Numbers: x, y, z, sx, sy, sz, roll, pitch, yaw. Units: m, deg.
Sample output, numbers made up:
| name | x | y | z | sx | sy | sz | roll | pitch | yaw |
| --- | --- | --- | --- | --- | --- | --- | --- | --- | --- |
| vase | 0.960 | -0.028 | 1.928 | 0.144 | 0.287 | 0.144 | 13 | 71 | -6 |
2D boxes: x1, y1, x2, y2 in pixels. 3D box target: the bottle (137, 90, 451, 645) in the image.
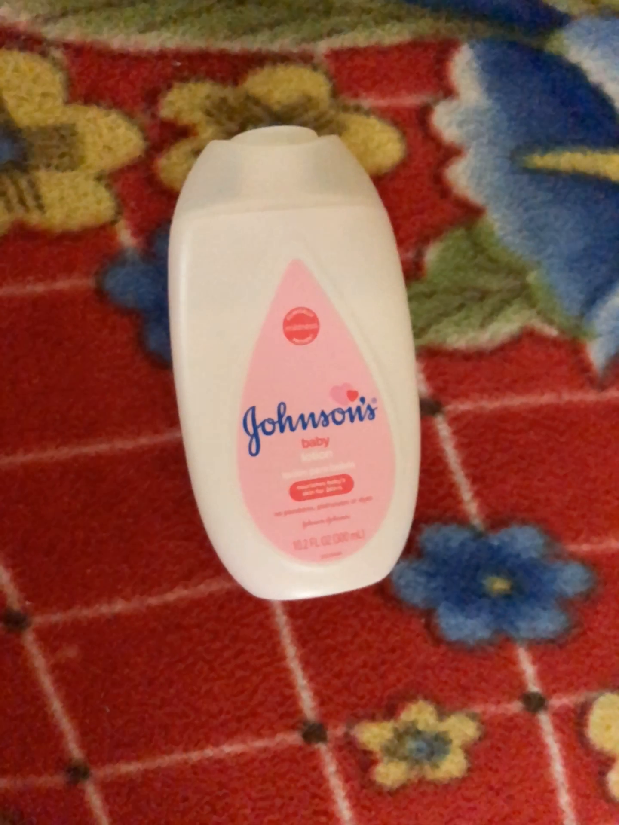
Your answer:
| name | x | y | z | sx | sy | sz | roll | pitch | yaw |
| --- | --- | --- | --- | --- | --- | --- | --- | --- | --- |
| bottle | -0.006 | -0.017 | 0.237 | 0.080 | 0.030 | 0.170 | -7 | 89 | -8 |
